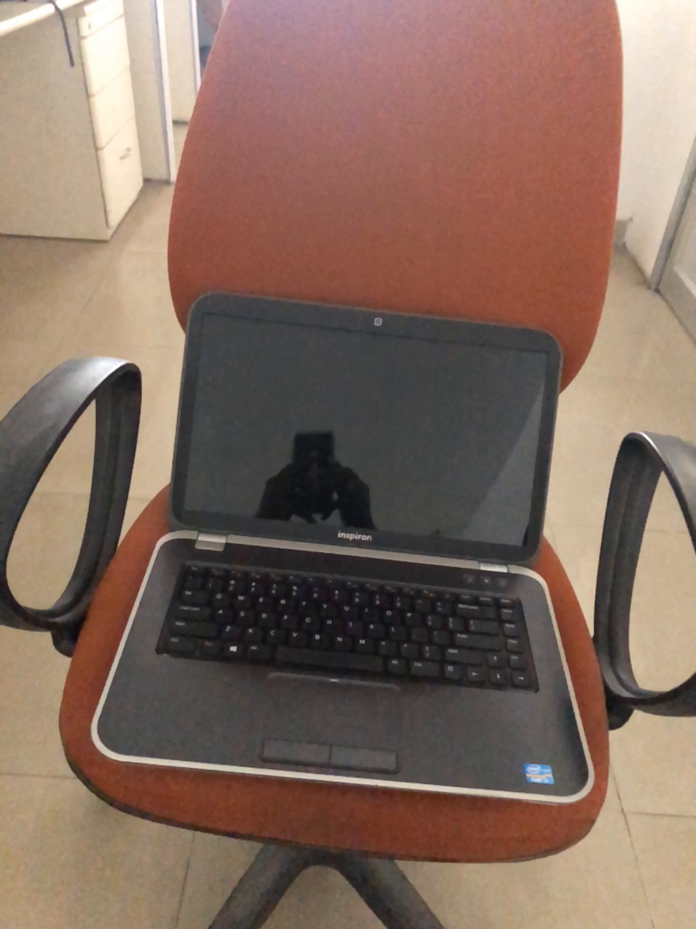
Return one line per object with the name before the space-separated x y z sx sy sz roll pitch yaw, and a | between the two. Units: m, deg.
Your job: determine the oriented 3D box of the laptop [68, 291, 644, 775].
laptop | 0.008 0.029 0.654 0.352 0.173 0.353 6 38 2
